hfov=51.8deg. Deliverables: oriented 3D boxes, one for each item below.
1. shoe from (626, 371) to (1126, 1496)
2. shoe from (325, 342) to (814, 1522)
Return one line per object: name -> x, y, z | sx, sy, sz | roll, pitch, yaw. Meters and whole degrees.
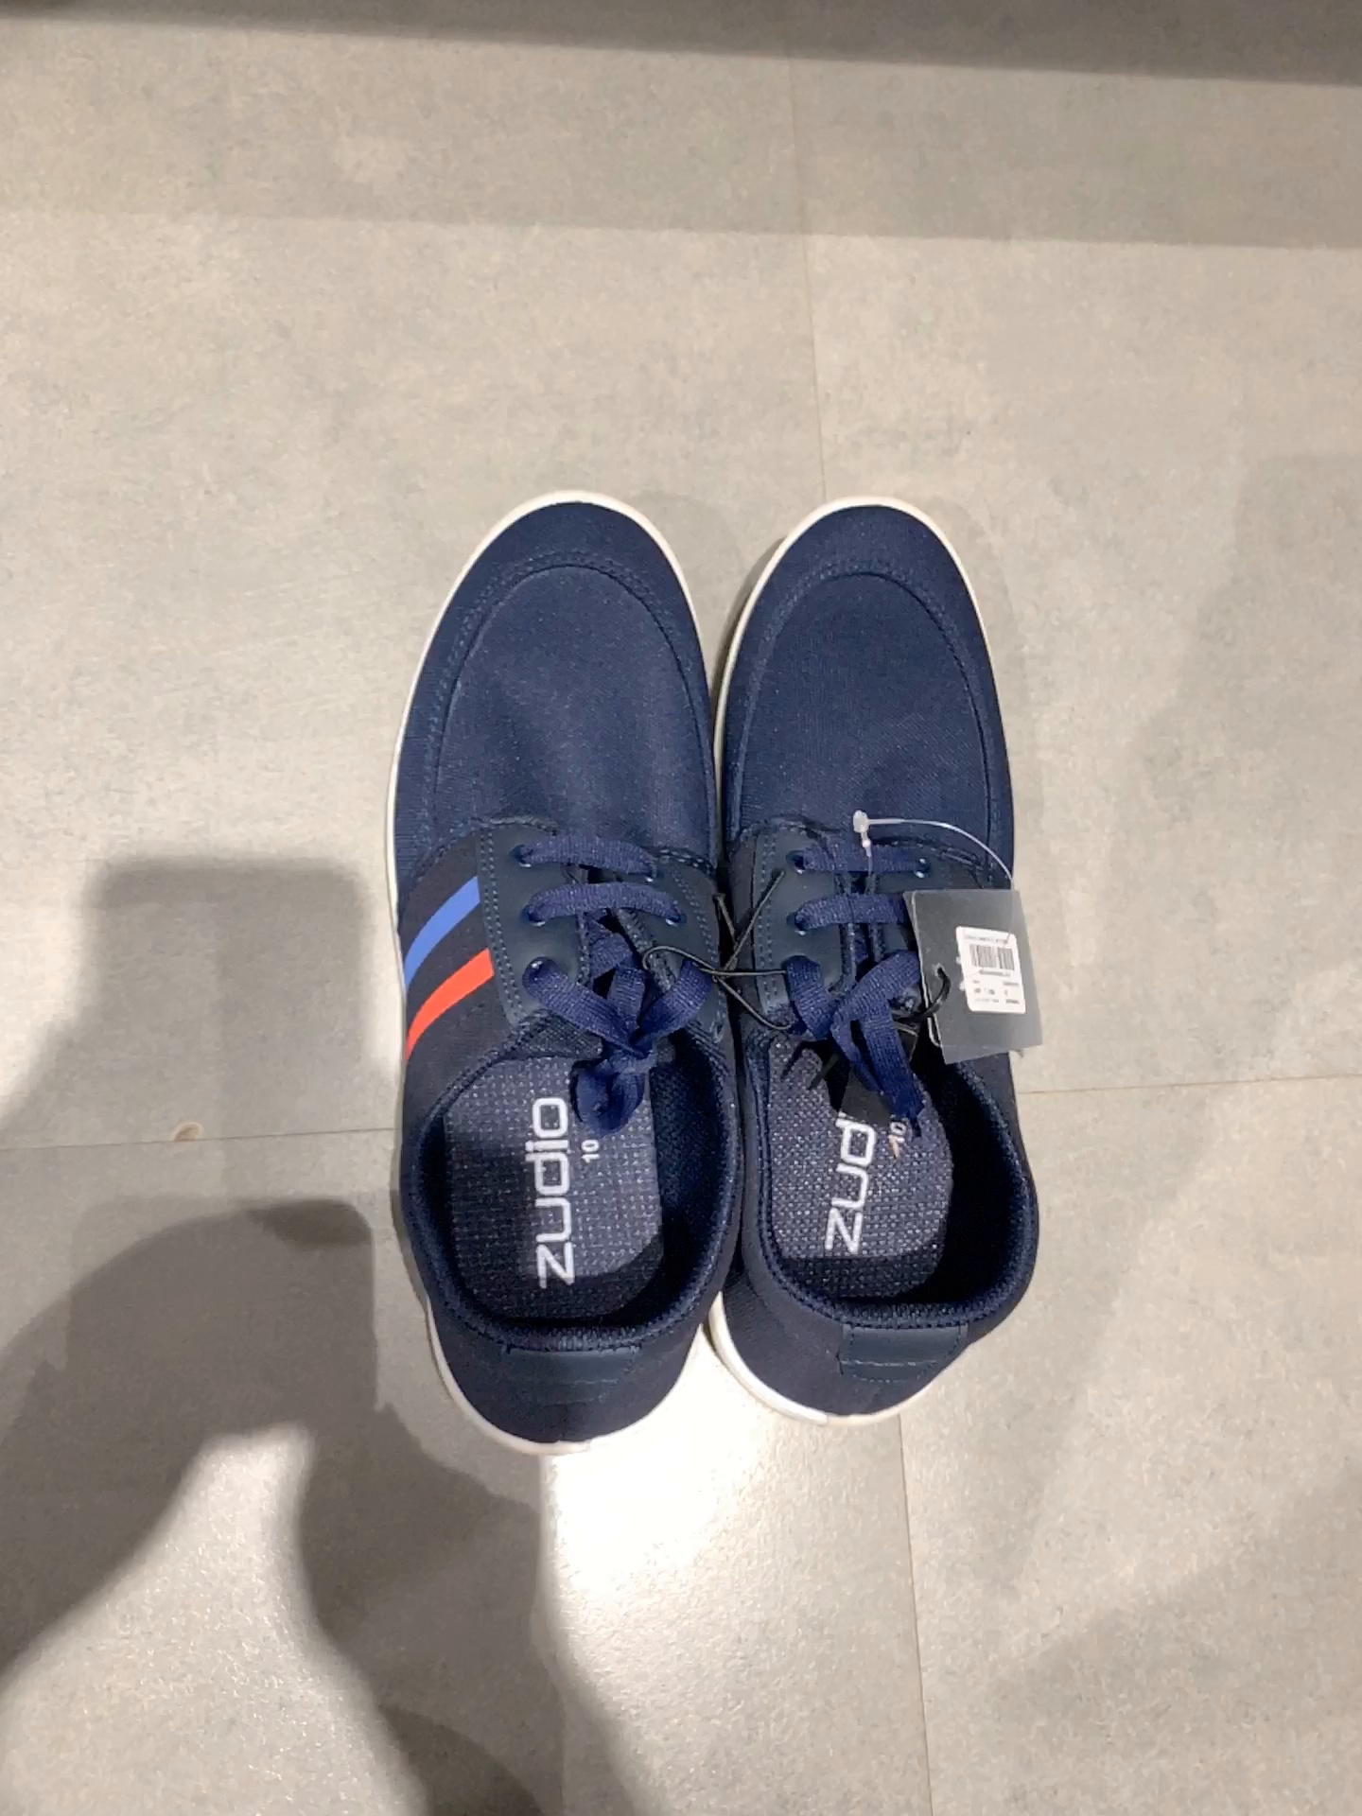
shoe -> 0.059, 0.008, 0.442 | 0.120, 0.100, 0.310 | 6, 79, -8
shoe -> -0.032, 0.006, 0.421 | 0.120, 0.100, 0.310 | 2, 79, -9
